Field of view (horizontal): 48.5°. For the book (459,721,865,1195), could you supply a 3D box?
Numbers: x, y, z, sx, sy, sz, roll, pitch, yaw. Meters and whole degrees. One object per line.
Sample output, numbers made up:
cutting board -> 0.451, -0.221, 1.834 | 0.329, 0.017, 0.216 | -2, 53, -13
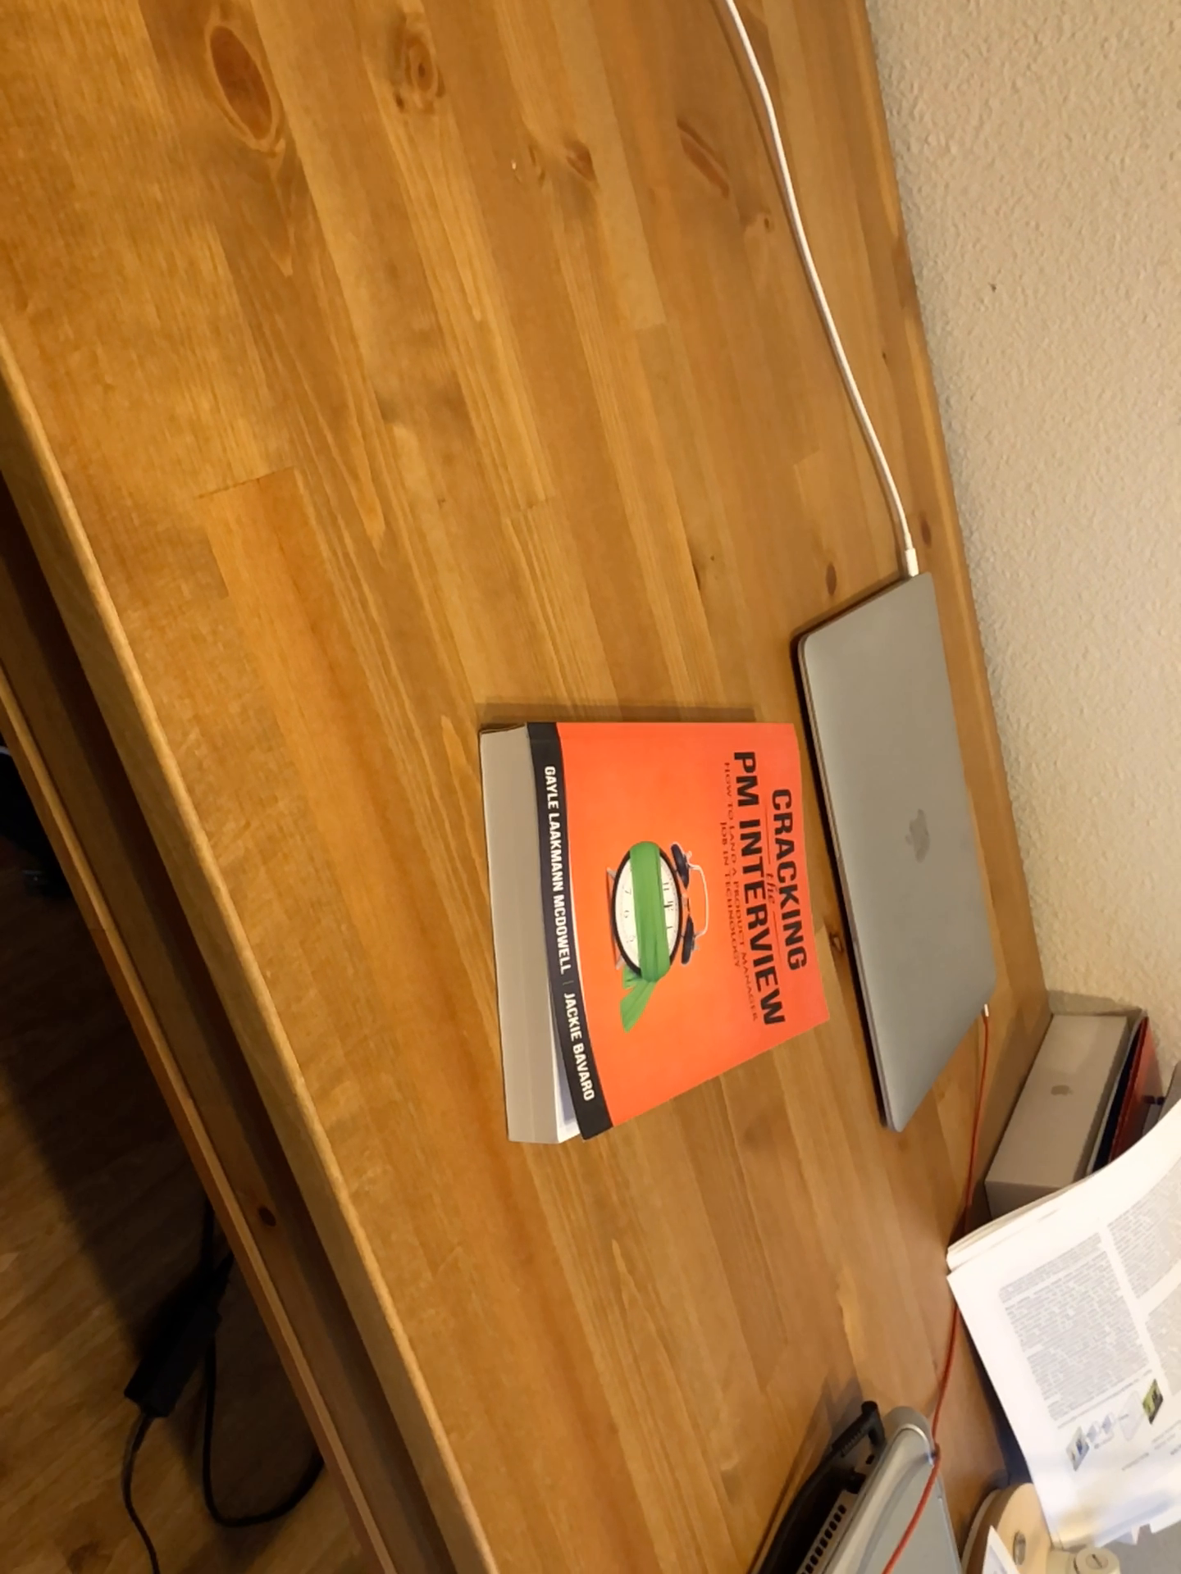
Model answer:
book -> 0.045, 0.054, 0.558 | 0.252, 0.040, 0.160 | -5, 90, -57
